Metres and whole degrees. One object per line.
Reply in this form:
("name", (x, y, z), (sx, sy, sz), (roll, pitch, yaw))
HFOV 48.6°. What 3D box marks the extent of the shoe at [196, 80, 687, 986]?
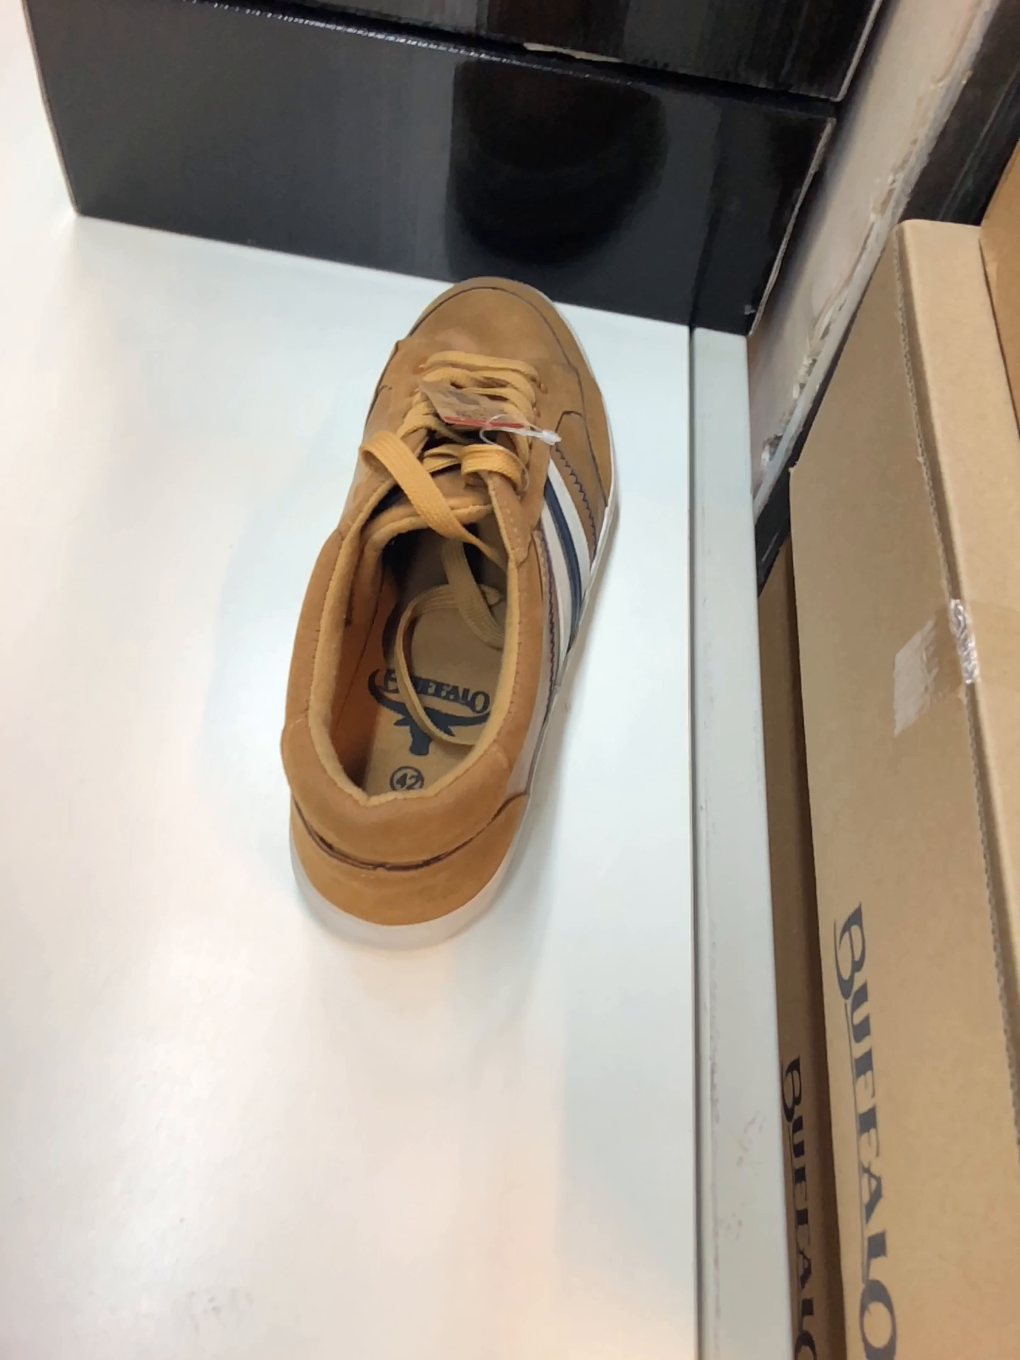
("shoe", (-0.009, -0.063, 0.388), (0.105, 0.104, 0.296), (9, 59, -2))
